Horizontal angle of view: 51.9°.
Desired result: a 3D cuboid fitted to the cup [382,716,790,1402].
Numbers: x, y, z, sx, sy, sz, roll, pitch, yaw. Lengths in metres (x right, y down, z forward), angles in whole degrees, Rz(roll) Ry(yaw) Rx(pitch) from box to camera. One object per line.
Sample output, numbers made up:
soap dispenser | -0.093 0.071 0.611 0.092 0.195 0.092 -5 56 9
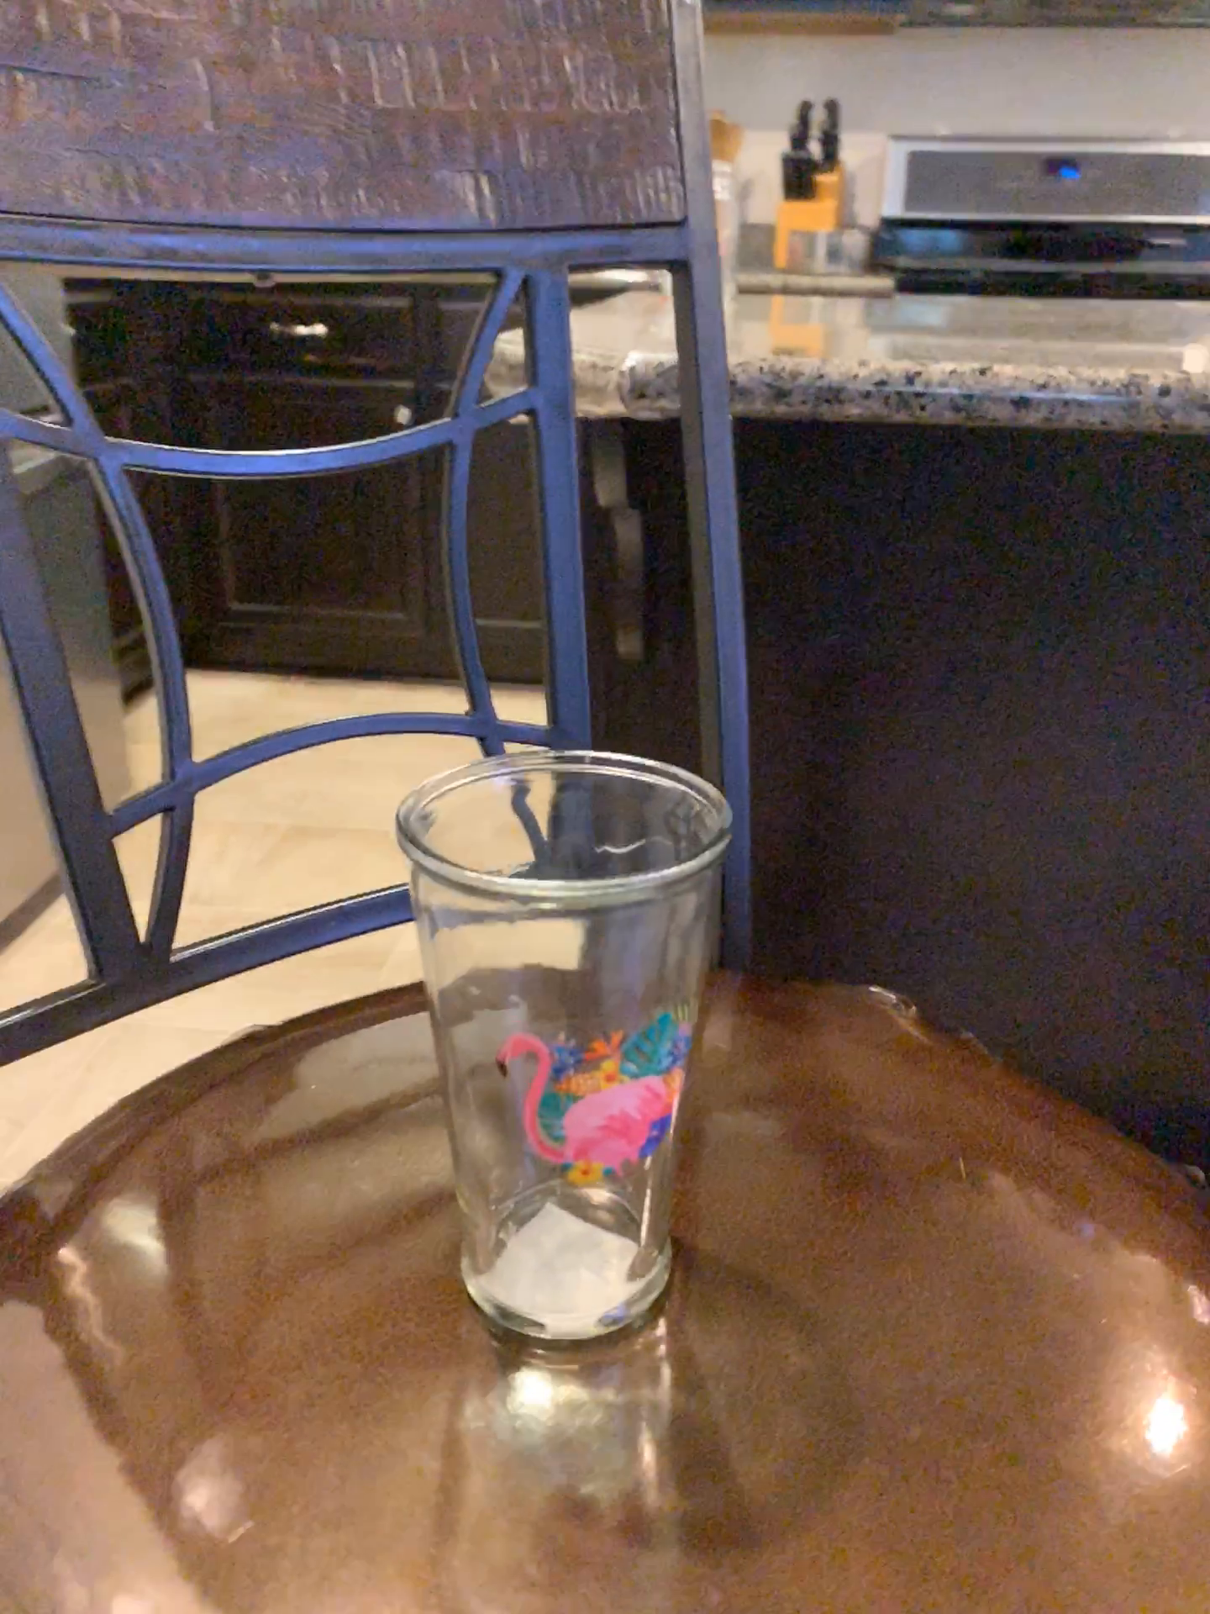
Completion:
cup | -0.010 0.063 0.334 0.080 0.149 0.081 1 23 -1
